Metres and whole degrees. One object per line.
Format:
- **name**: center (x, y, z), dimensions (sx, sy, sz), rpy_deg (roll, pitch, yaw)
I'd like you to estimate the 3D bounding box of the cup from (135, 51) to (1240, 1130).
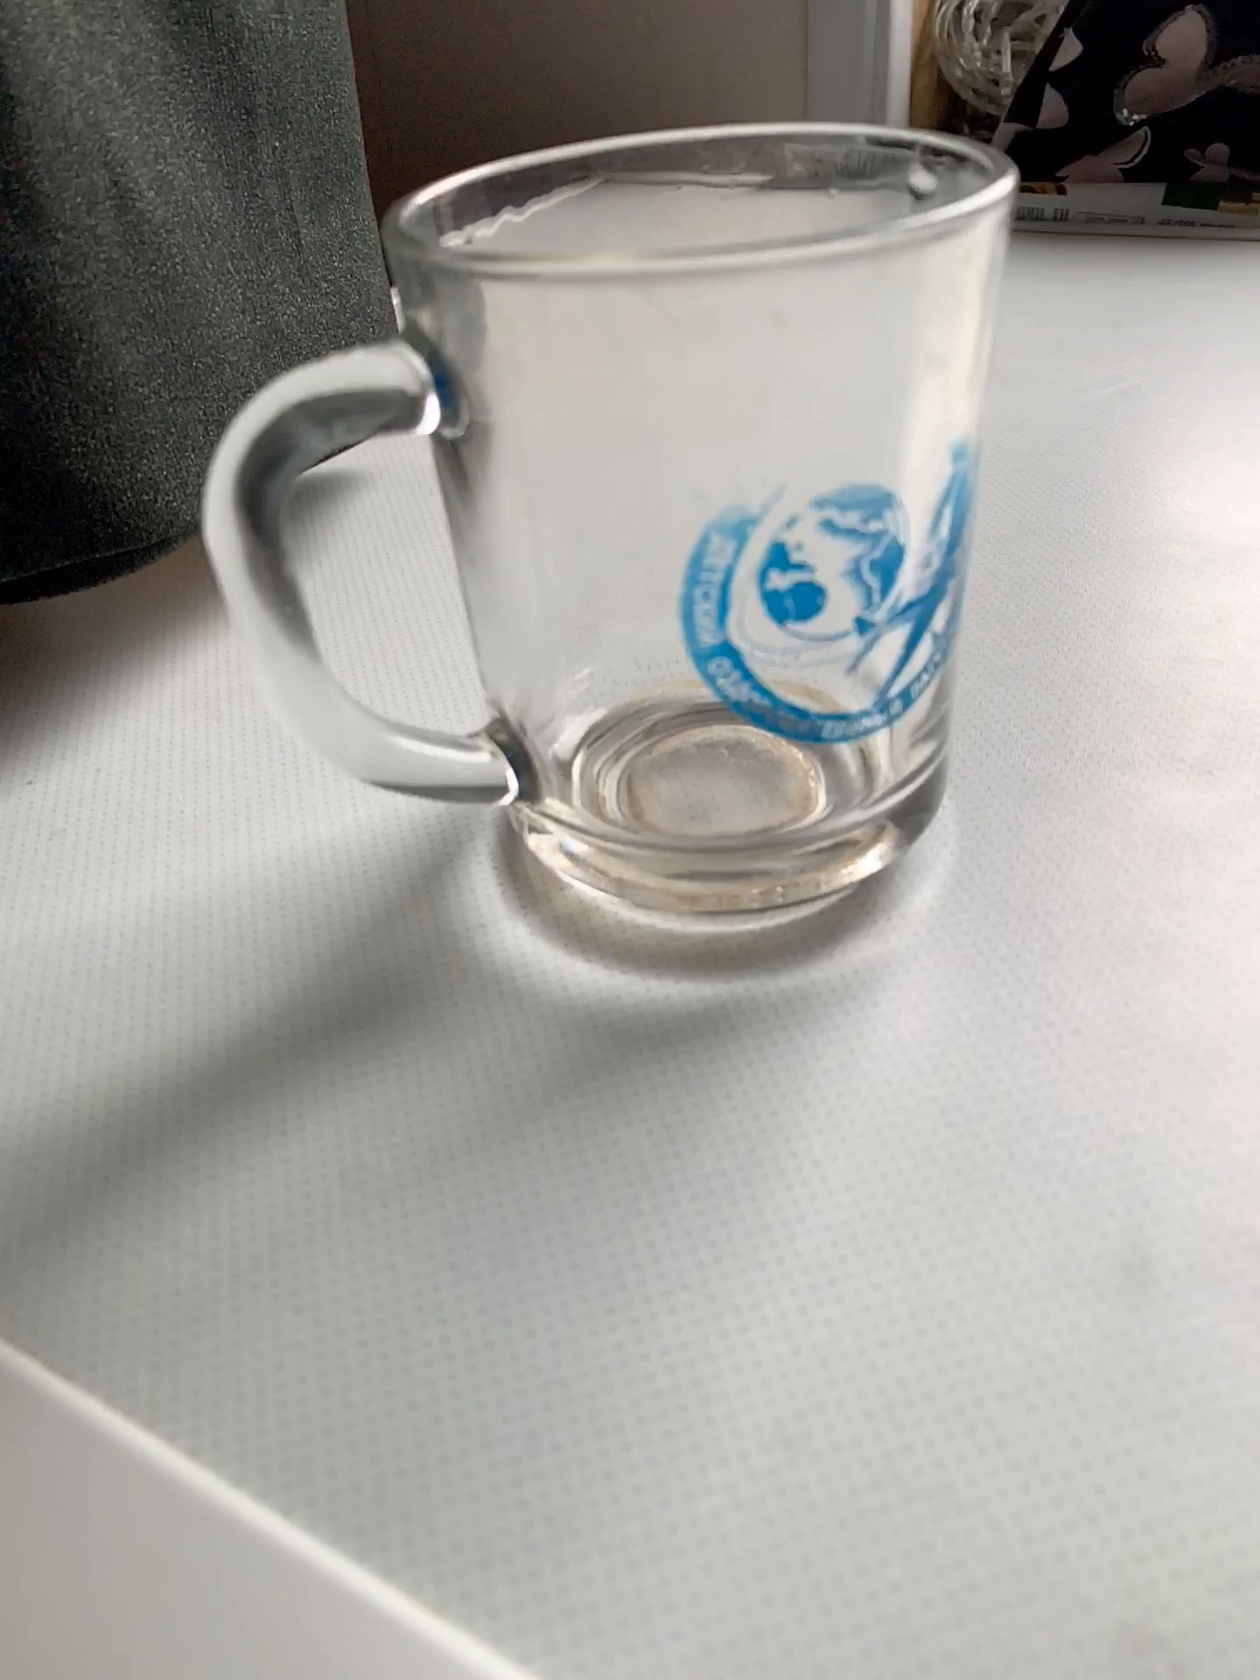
- **cup**: center (0.003, -0.035, 0.157), dimensions (0.090, 0.089, 0.071), rpy_deg (-17, 38, -15)
